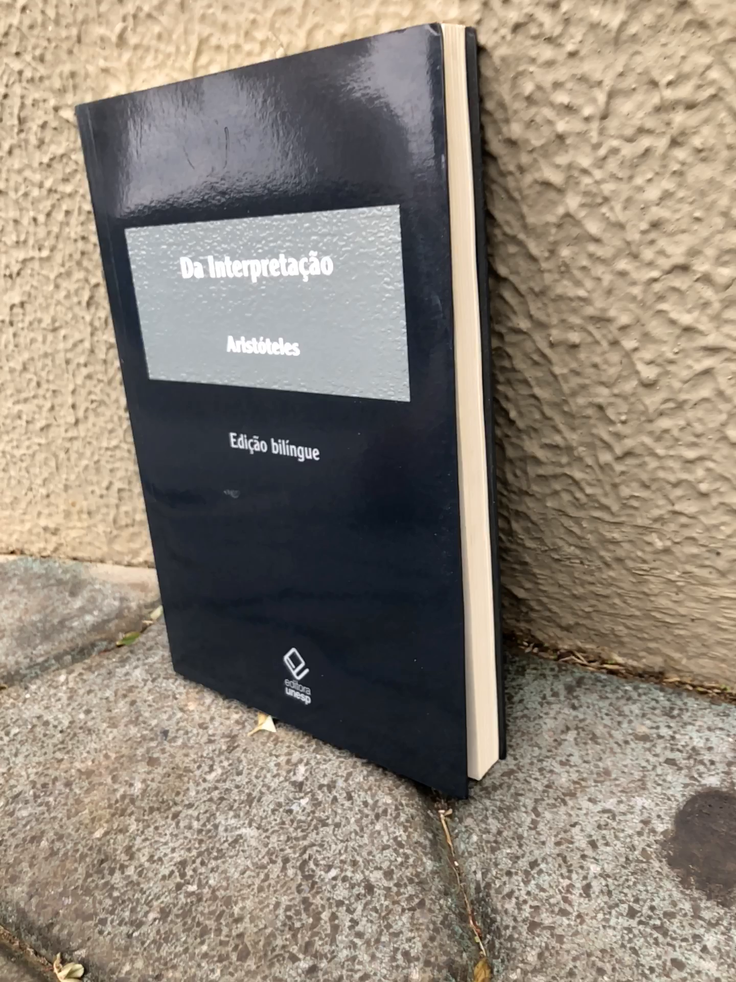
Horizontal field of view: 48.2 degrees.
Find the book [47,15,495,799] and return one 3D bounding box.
[{"bbox_3d":[-0.030,-0.020,0.246,0.132,0.187,0.030,10,23,39],"label":"book"}]
